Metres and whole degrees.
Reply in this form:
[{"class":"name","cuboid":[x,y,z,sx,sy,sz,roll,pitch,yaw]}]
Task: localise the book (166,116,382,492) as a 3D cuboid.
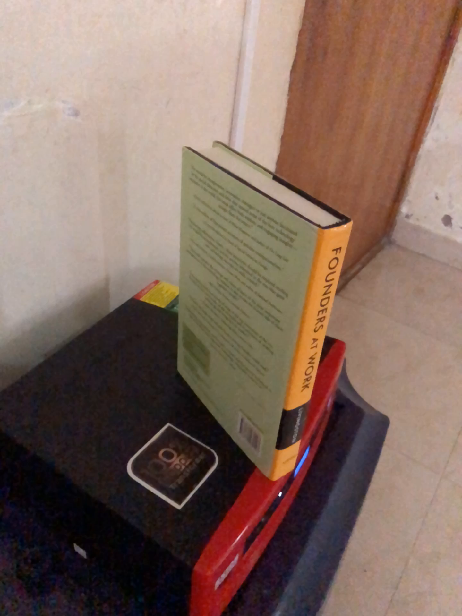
[{"class":"book","cuboid":[0.010,-0.001,0.420,0.040,0.249,0.180,-17,43,-29]}]
